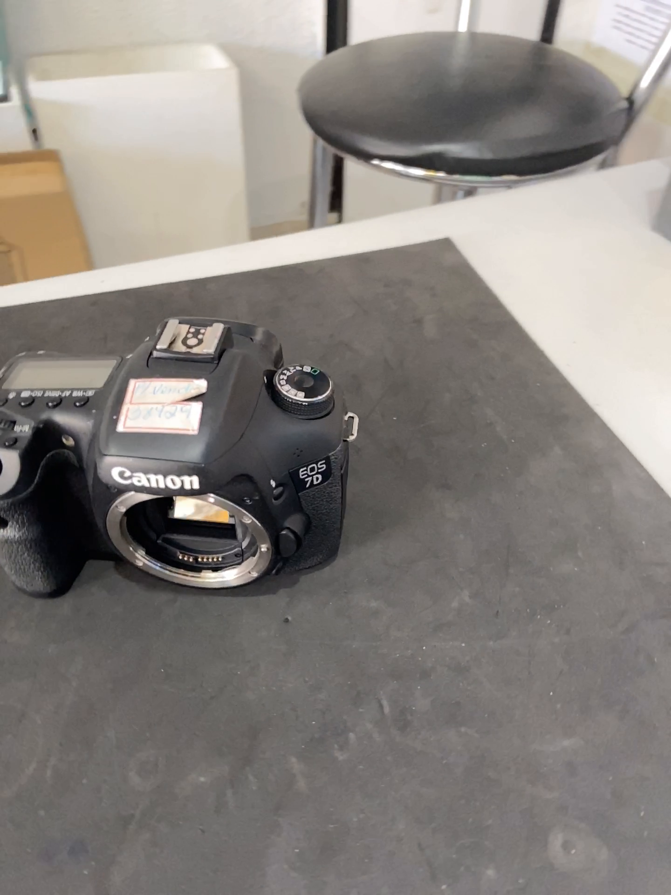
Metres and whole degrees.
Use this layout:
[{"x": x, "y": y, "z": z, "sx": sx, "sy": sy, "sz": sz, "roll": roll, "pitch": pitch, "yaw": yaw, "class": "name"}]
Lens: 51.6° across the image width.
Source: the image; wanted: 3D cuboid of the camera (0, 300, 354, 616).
[{"x": -0.071, "y": 0.005, "z": 0.304, "sx": 0.152, "sy": 0.101, "sz": 0.083, "roll": 3, "pitch": 45, "yaw": 2, "class": "camera"}]
